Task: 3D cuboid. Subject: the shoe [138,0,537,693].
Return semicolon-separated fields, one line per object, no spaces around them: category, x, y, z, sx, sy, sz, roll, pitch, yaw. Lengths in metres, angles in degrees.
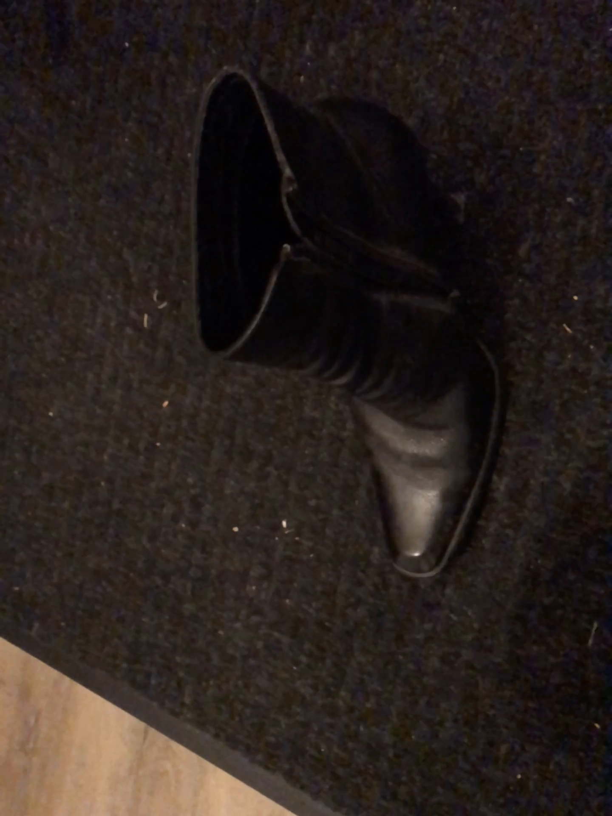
shoe;0.035;-0.037;0.308;0.090;0.209;0.240;1;90;29
